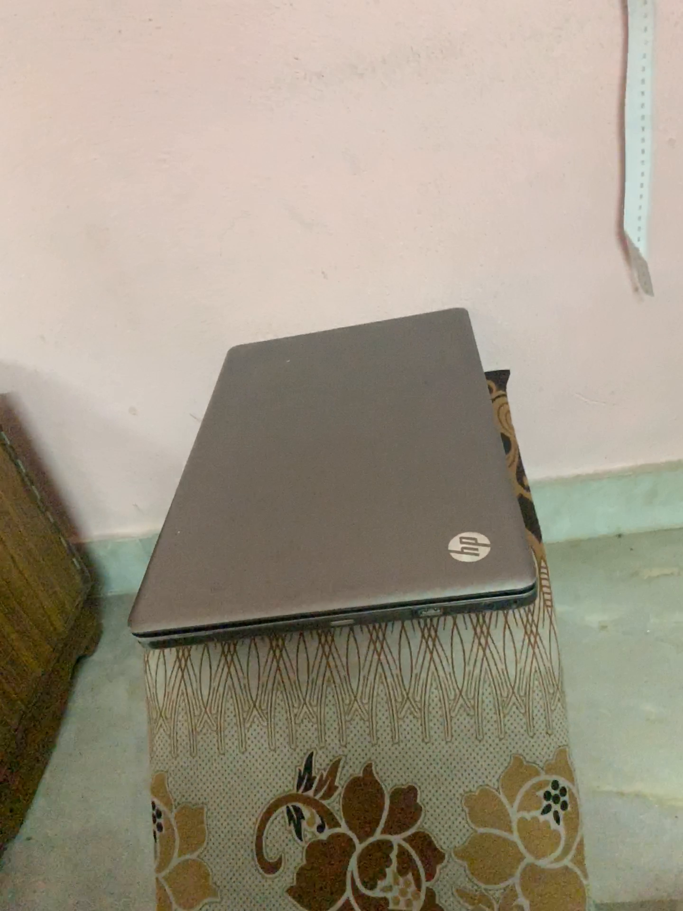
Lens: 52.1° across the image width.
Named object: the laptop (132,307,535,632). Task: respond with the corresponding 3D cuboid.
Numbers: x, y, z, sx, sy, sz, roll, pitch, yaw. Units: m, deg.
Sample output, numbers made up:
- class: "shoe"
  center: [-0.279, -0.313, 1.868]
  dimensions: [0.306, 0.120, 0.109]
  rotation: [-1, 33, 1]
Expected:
- class: "laptop"
  center: [-0.003, -0.019, 0.575]
  dimensions: [0.249, 0.002, 0.381]
  rotation: [-8, 36, 8]
